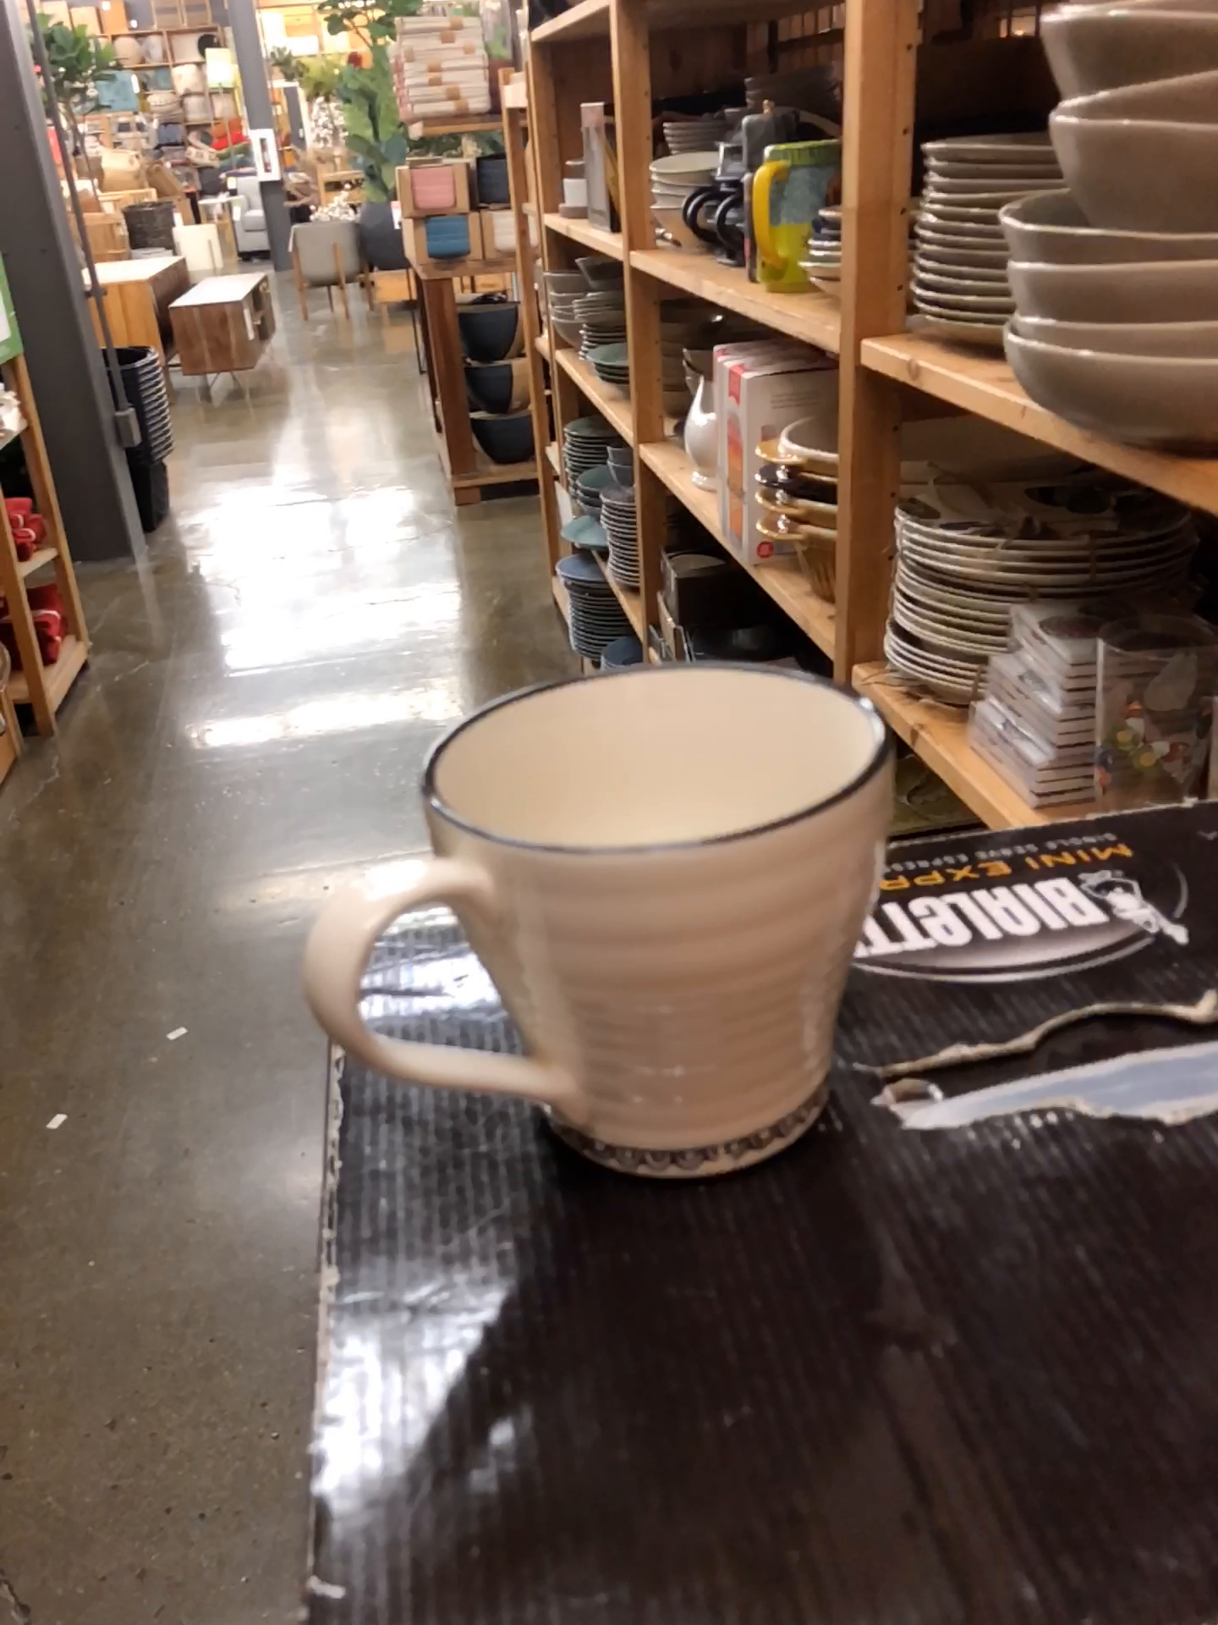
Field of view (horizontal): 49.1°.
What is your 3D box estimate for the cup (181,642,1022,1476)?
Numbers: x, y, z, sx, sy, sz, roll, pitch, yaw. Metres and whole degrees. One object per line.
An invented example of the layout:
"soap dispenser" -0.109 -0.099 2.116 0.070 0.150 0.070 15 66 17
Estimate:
"cup" 0.006 0.033 0.273 0.102 0.084 0.130 17 34 36
